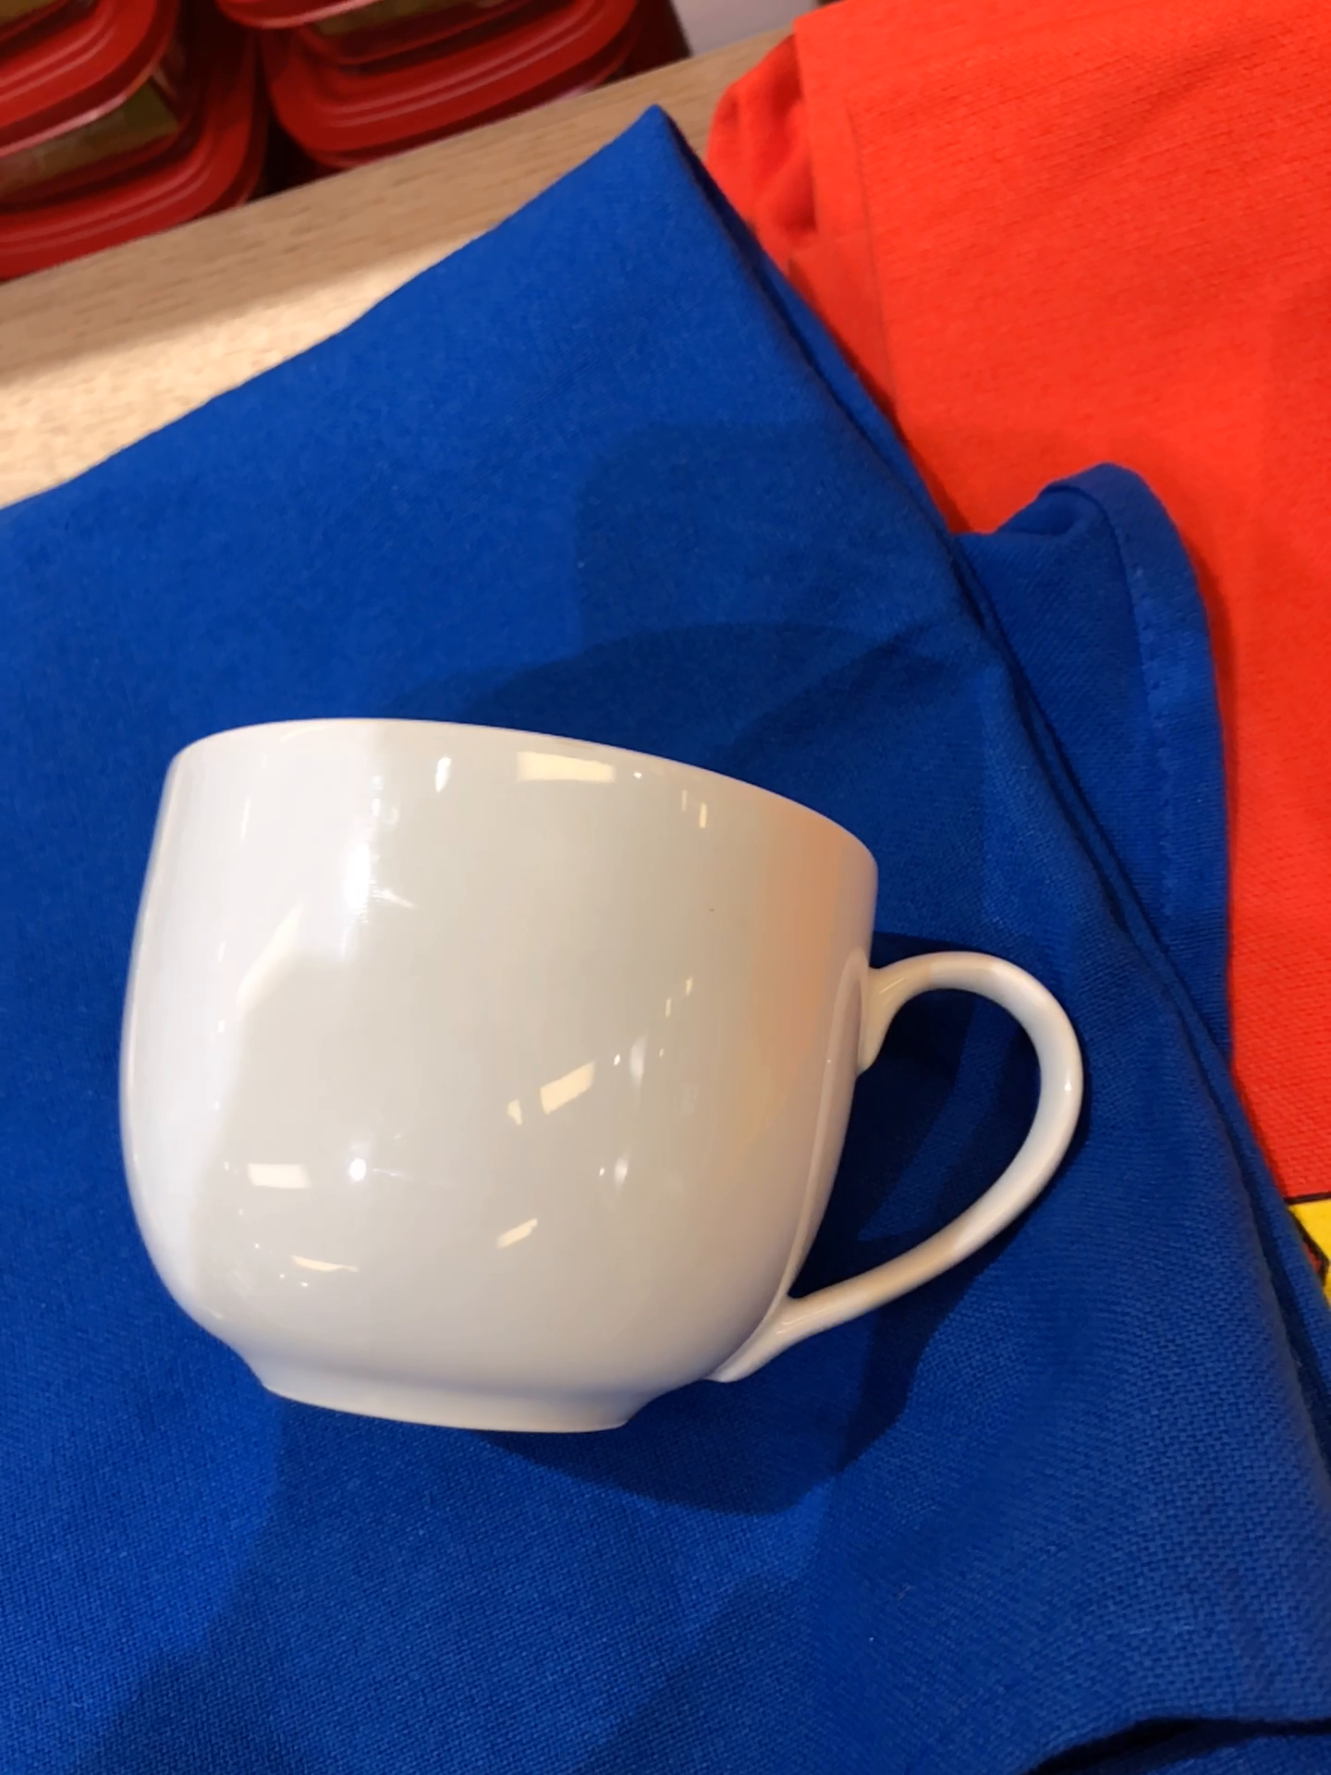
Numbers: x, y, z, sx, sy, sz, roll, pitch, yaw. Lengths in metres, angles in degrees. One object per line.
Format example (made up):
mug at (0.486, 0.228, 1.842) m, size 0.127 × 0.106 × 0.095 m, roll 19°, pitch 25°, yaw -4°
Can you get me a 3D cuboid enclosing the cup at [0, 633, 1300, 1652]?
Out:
cup at (-0.001, 0.035, 0.197) m, size 0.130 × 0.080 × 0.090 m, roll 10°, pitch 79°, yaw -12°
